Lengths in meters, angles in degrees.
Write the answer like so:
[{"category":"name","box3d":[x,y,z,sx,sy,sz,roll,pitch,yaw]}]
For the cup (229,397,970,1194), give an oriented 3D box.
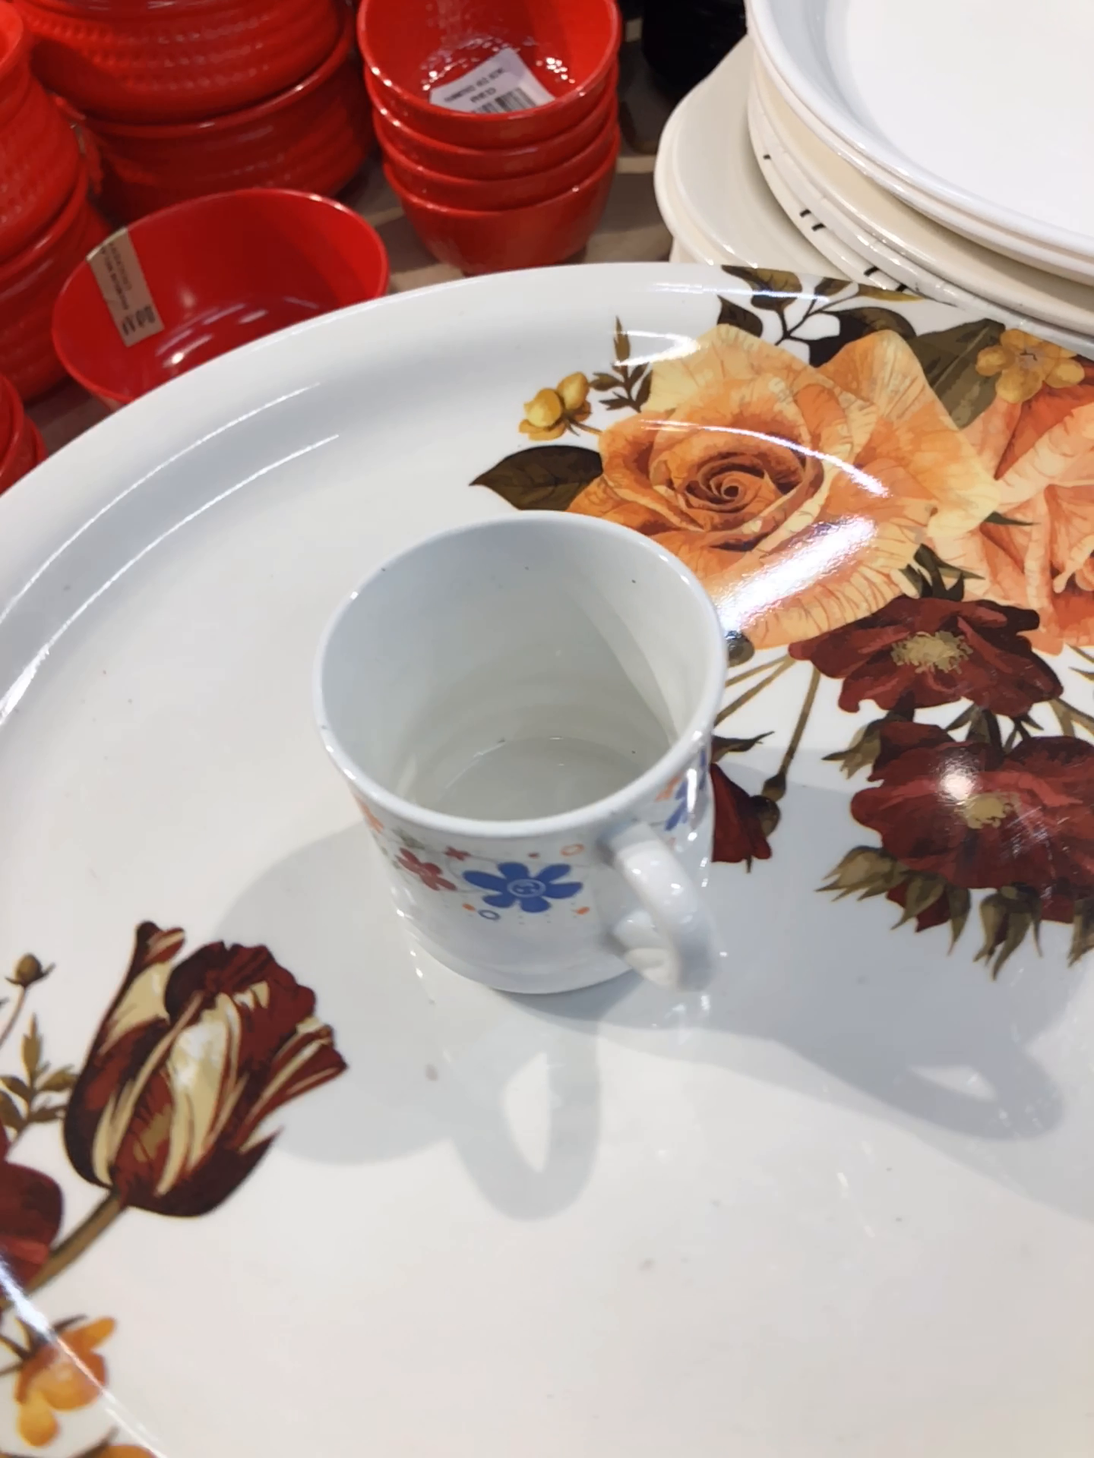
[{"category":"cup","box3d":[0.007,0.012,0.223,0.070,0.080,0.100,-33,58,-15]}]
